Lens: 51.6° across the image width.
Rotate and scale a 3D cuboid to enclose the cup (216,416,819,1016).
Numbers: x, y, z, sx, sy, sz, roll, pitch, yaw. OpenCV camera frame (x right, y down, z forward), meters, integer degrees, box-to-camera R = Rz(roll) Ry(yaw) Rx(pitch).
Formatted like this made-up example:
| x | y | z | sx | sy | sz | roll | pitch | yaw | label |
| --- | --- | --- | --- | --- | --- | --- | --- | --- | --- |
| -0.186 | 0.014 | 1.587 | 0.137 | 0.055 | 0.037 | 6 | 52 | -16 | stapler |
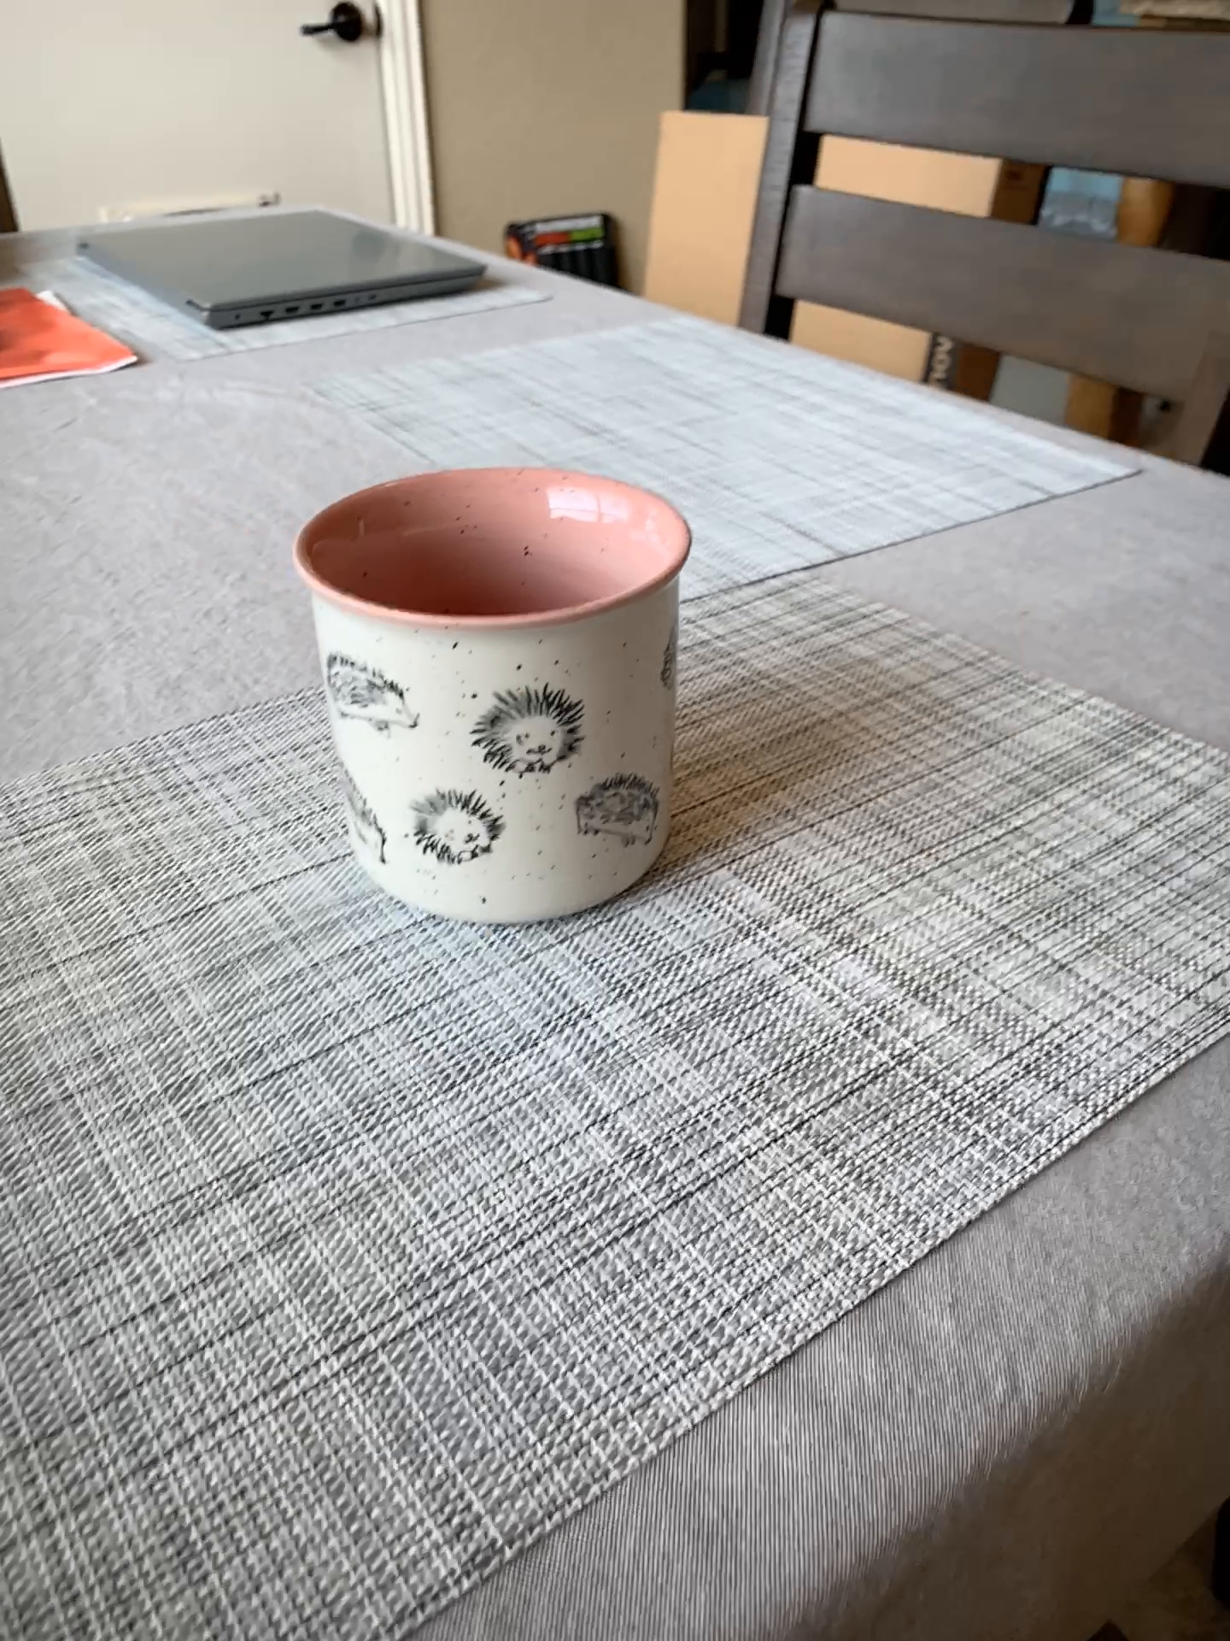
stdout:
| x | y | z | sx | sy | sz | roll | pitch | yaw | label |
| --- | --- | --- | --- | --- | --- | --- | --- | --- | --- |
| -0.035 | -0.044 | 0.396 | 0.121 | 0.106 | 0.151 | -17 | 37 | -24 | cup |
